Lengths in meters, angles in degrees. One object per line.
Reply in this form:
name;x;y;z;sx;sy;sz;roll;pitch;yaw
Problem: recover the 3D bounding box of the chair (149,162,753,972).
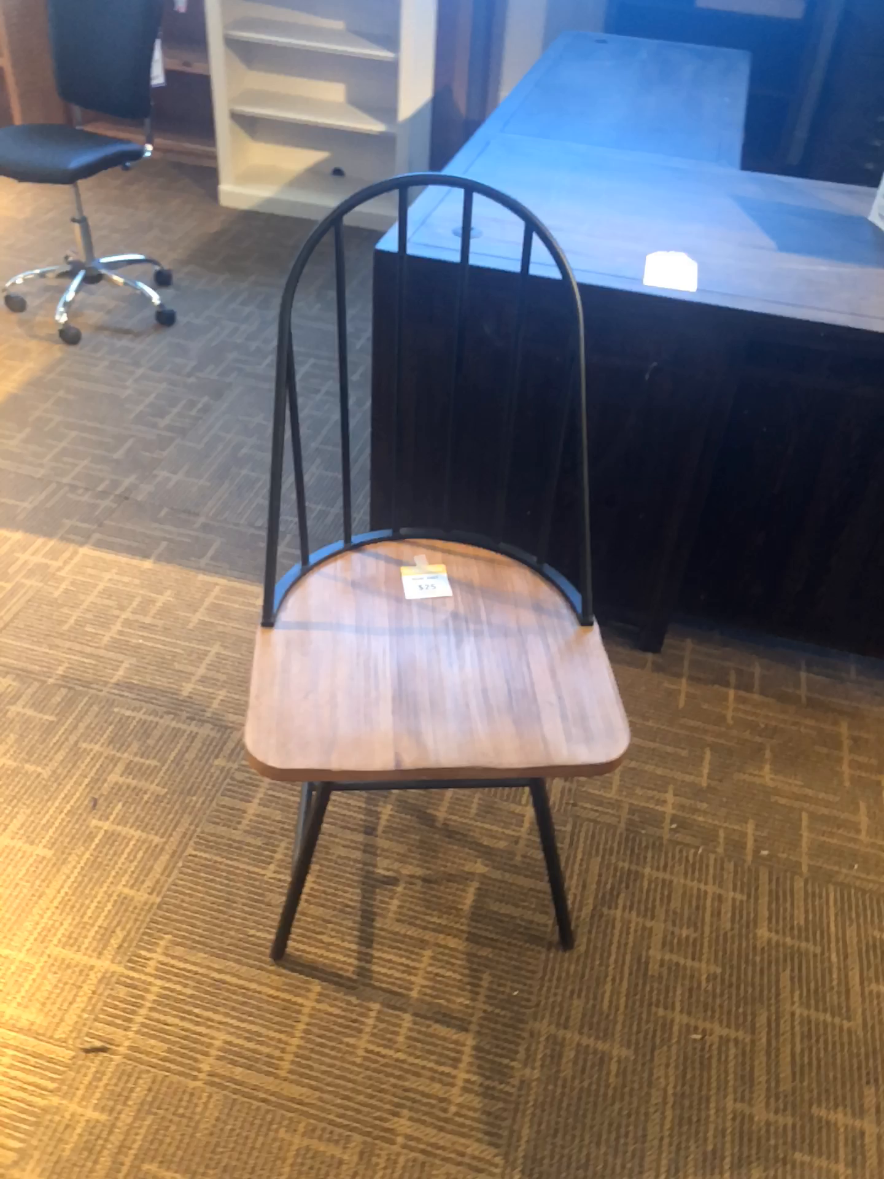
chair;-0.036;-0.002;1.349;0.513;0.930;0.601;0;40;-6
